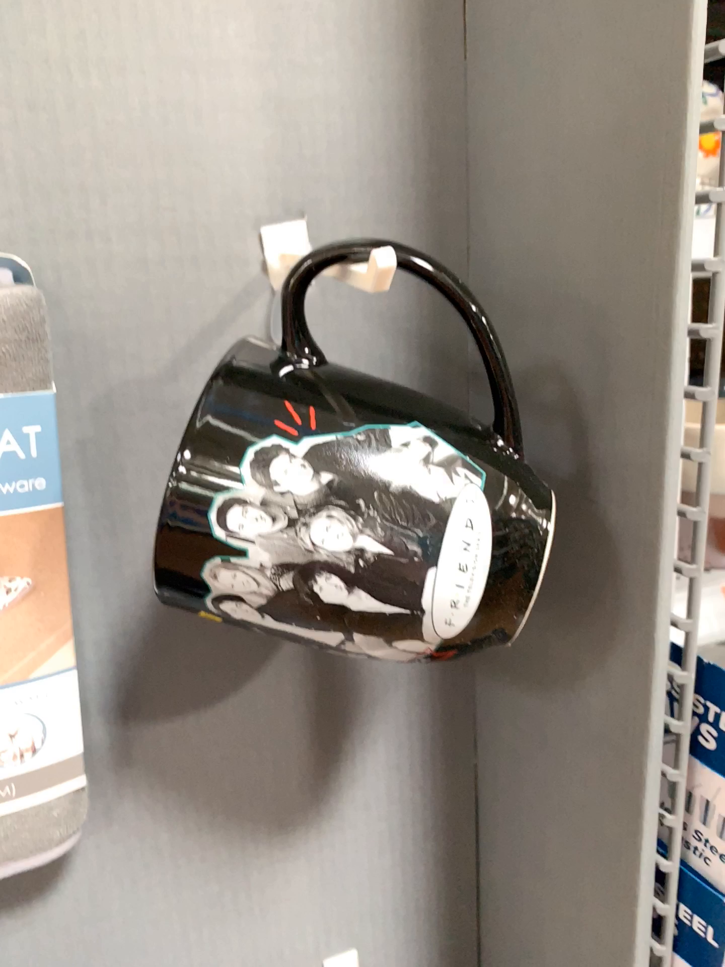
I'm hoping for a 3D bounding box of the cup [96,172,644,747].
[{"bbox_3d":[0.000,-0.012,0.241,0.115,0.128,0.087,17,17,2],"label":"cup"}]
